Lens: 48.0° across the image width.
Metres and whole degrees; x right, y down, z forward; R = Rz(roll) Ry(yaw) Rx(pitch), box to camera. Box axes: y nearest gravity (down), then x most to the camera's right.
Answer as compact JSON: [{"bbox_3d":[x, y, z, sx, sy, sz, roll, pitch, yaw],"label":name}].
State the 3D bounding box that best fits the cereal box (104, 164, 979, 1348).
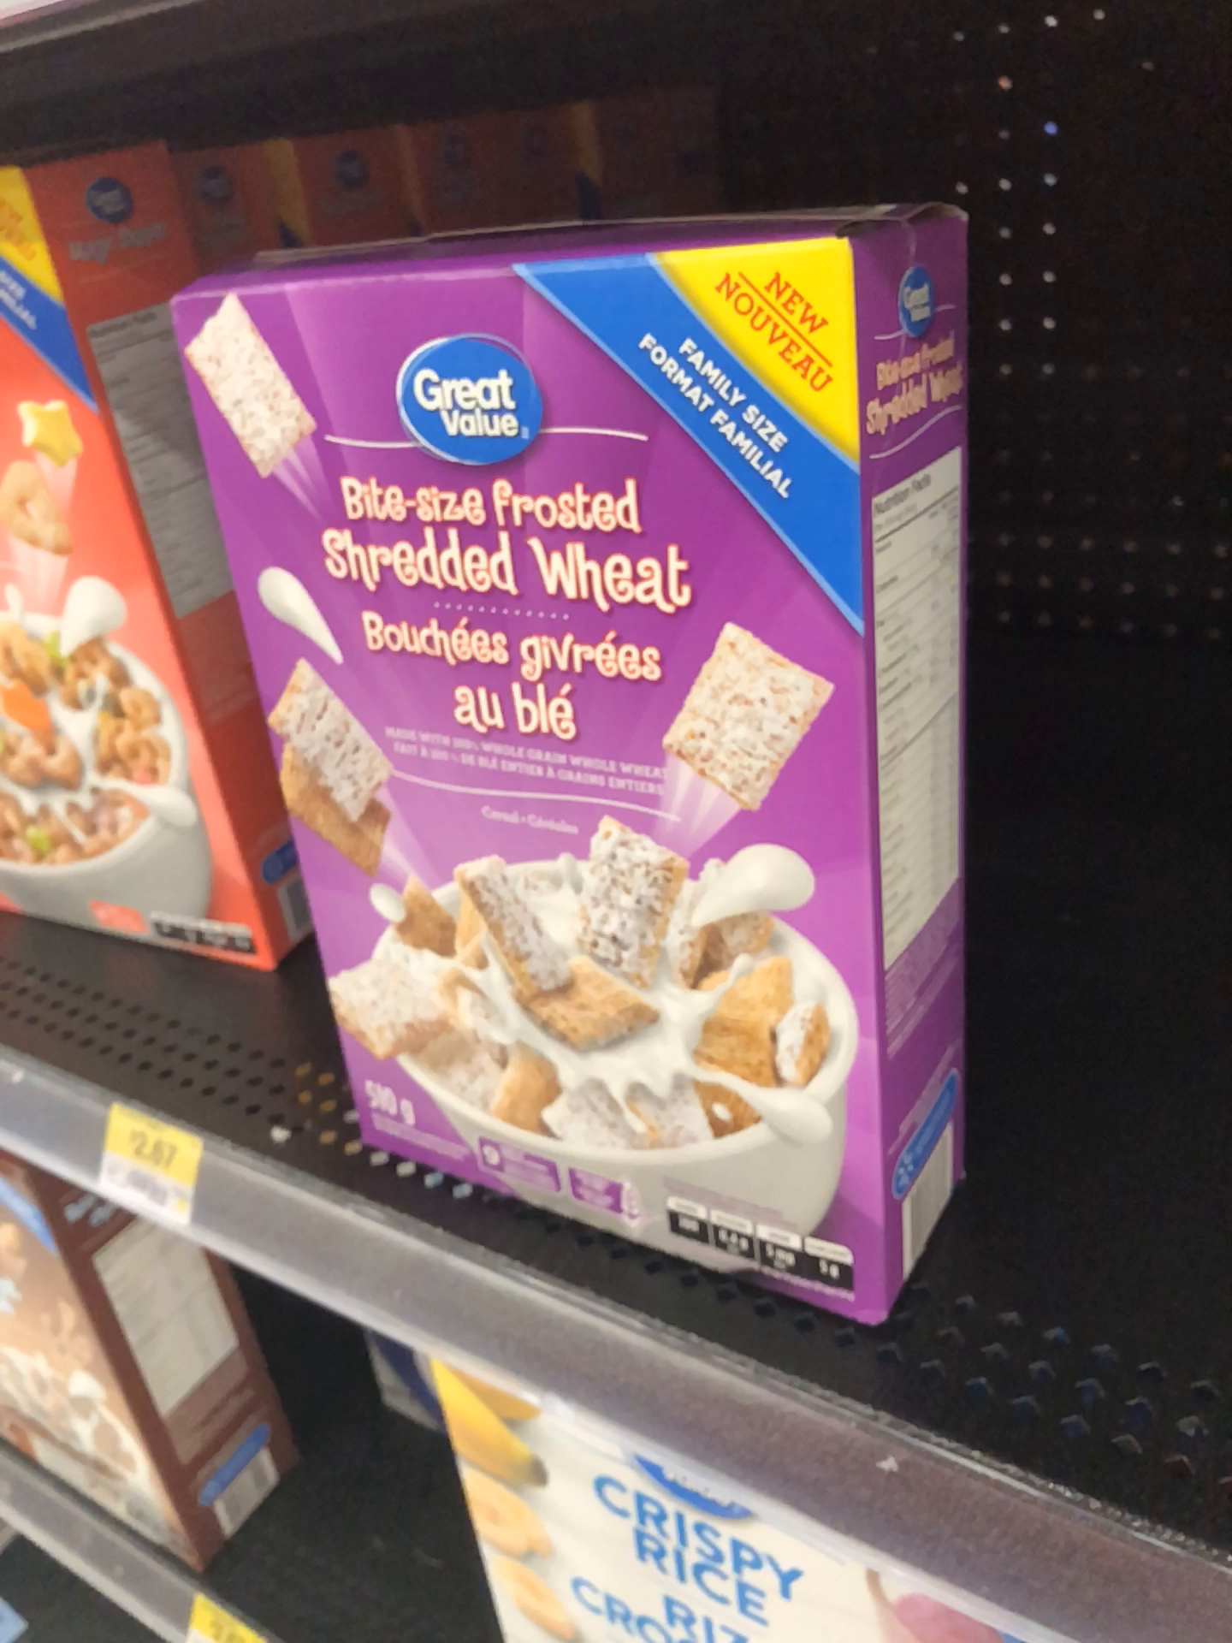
[{"bbox_3d":[-0.013,-0.018,0.388,0.210,0.279,0.070,10,30,33],"label":"cereal box"}]
